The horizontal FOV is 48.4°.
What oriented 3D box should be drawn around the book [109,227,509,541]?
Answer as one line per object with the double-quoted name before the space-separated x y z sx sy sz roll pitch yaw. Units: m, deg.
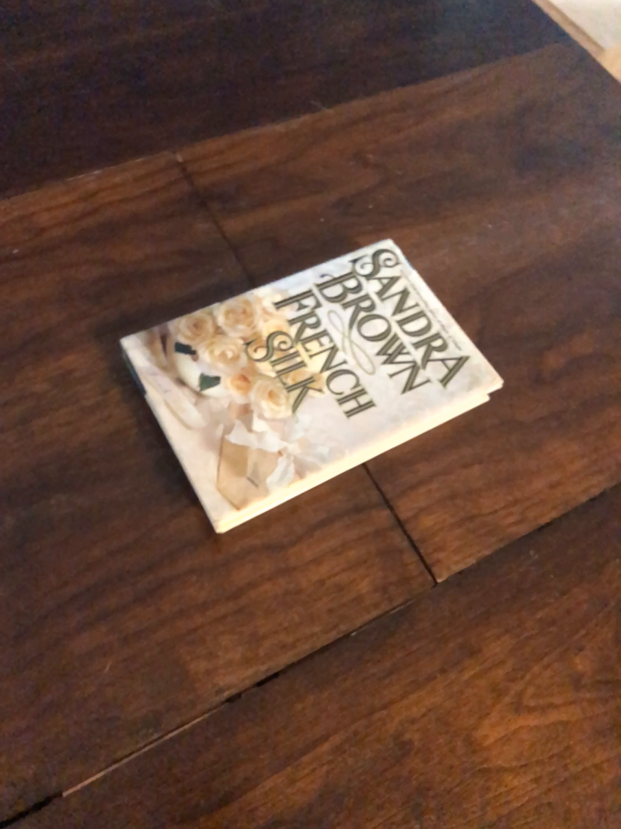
"book" -0.001 -0.035 0.510 0.240 0.033 0.161 -24 66 -18
